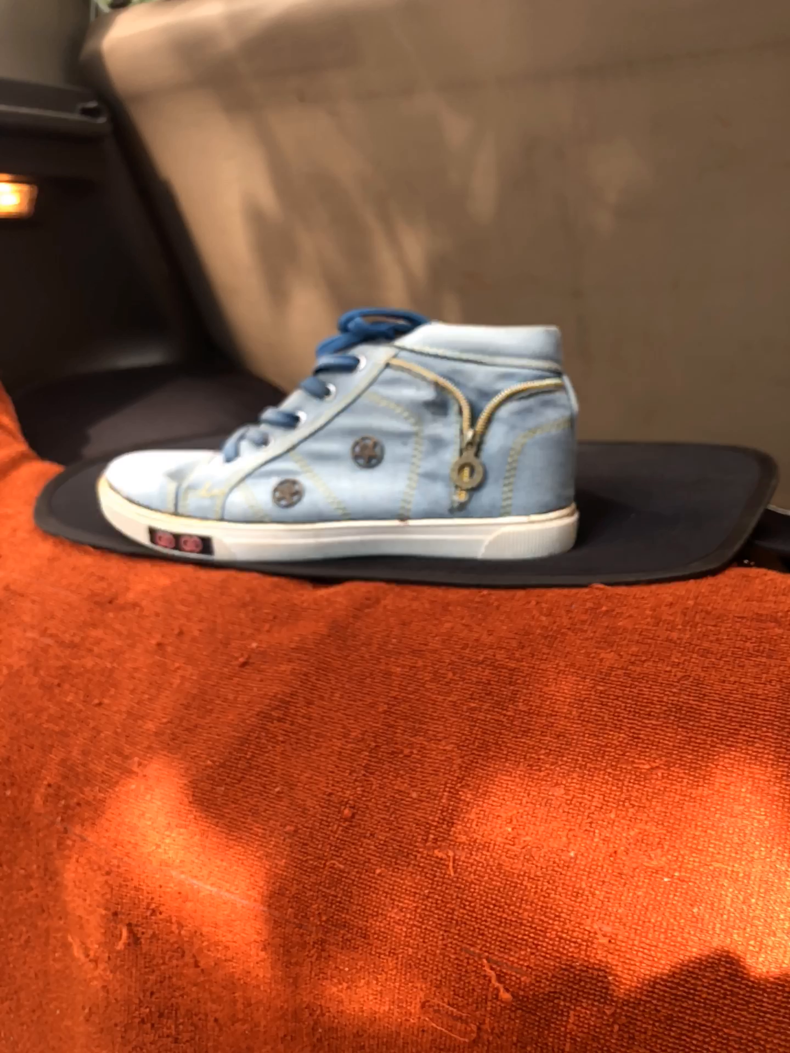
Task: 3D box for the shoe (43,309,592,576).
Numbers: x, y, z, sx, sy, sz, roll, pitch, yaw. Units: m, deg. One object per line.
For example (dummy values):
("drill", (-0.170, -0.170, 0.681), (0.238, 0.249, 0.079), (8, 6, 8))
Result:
("shoe", (-0.031, -0.052, 0.472), (0.260, 0.110, 0.111), (2, 19, 13))
